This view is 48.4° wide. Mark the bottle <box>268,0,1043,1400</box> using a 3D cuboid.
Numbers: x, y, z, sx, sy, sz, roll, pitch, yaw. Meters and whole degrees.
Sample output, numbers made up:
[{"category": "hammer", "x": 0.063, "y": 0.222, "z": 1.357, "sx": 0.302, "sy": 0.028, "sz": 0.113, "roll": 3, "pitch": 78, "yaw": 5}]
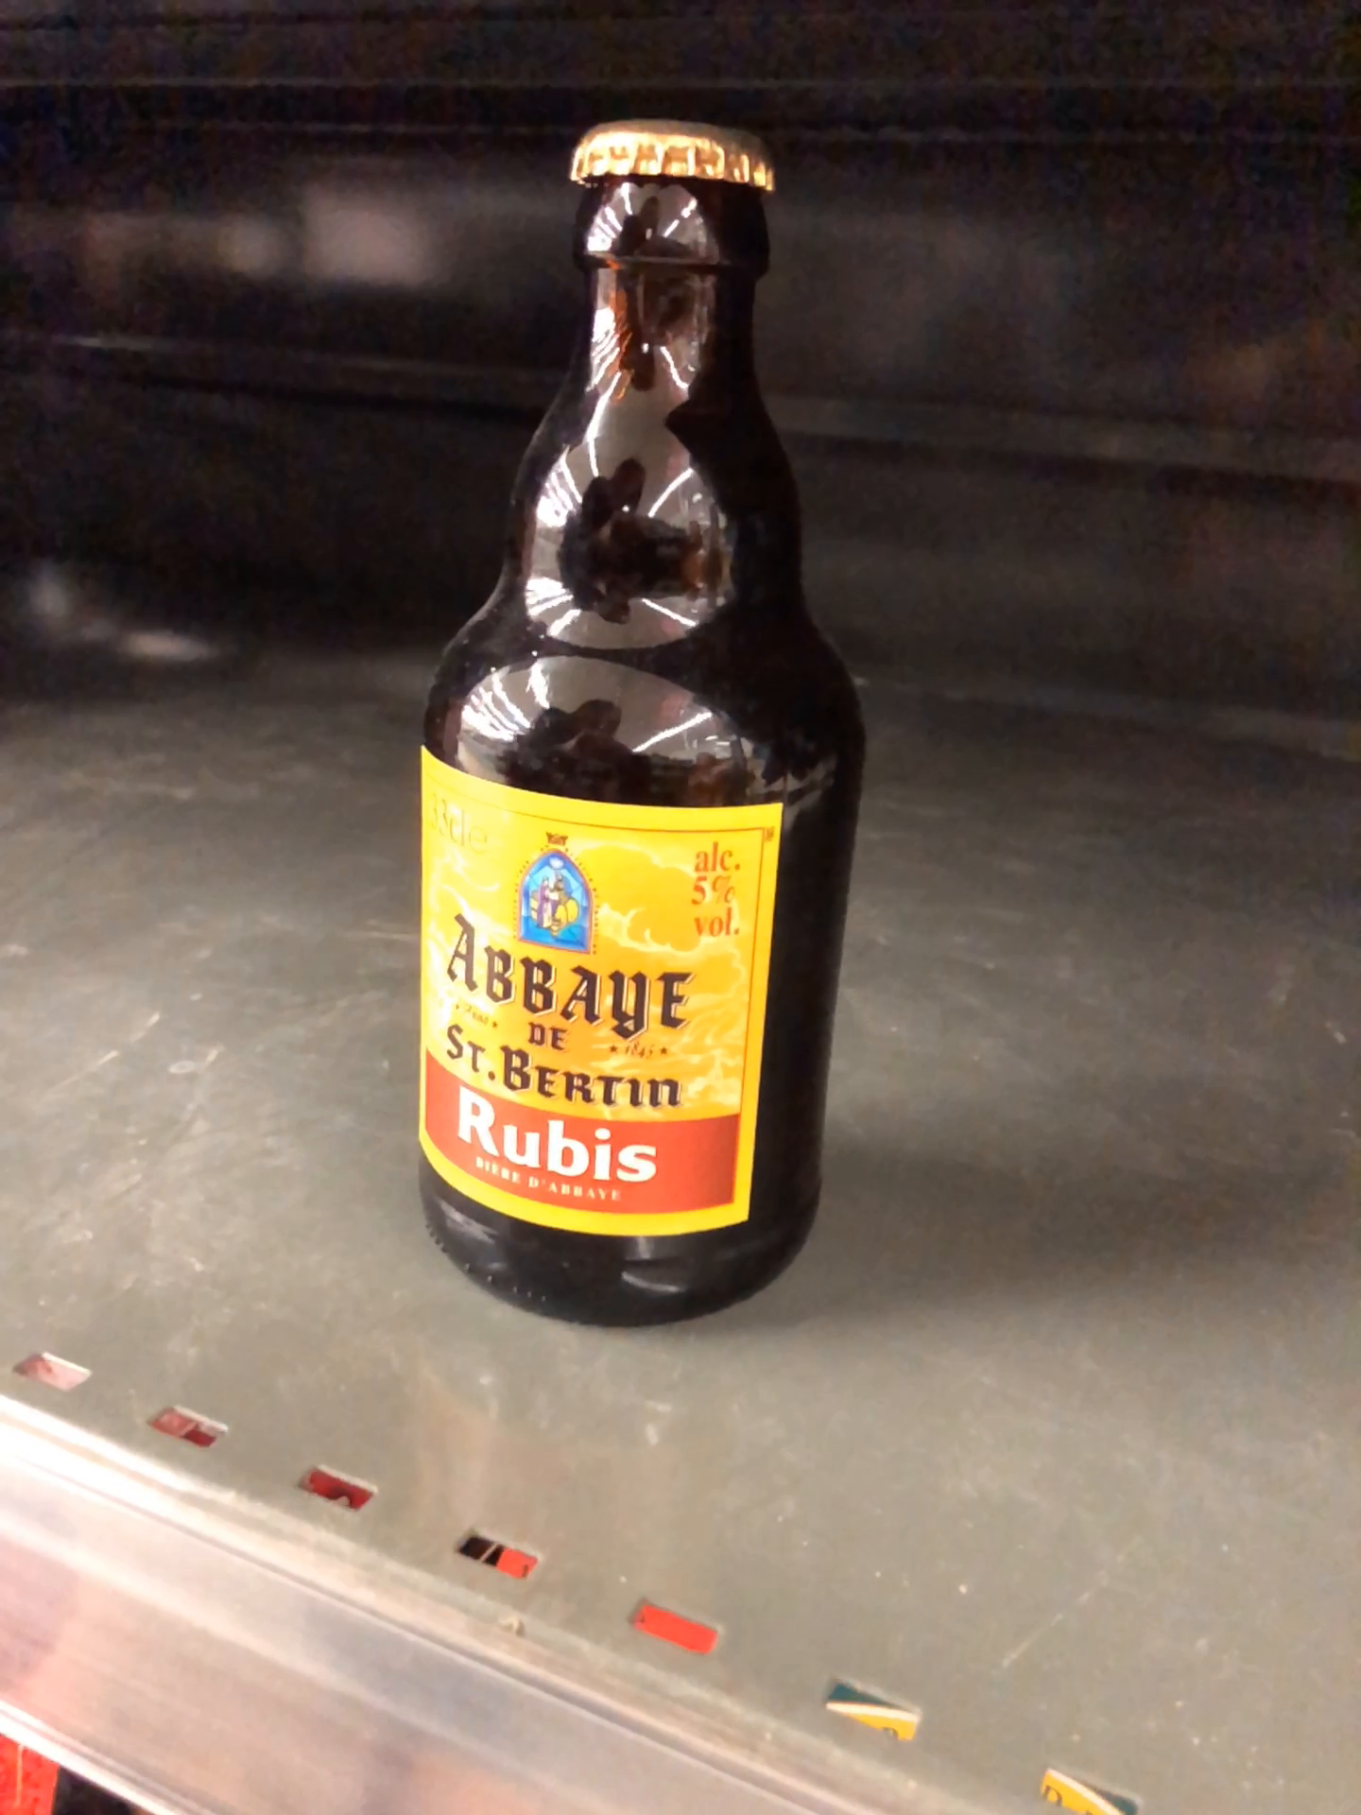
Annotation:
[{"category": "bottle", "x": -0.004, "y": -0.030, "z": 0.227, "sx": 0.080, "sy": 0.169, "sz": 0.070, "roll": 11, "pitch": 20, "yaw": 22}]
